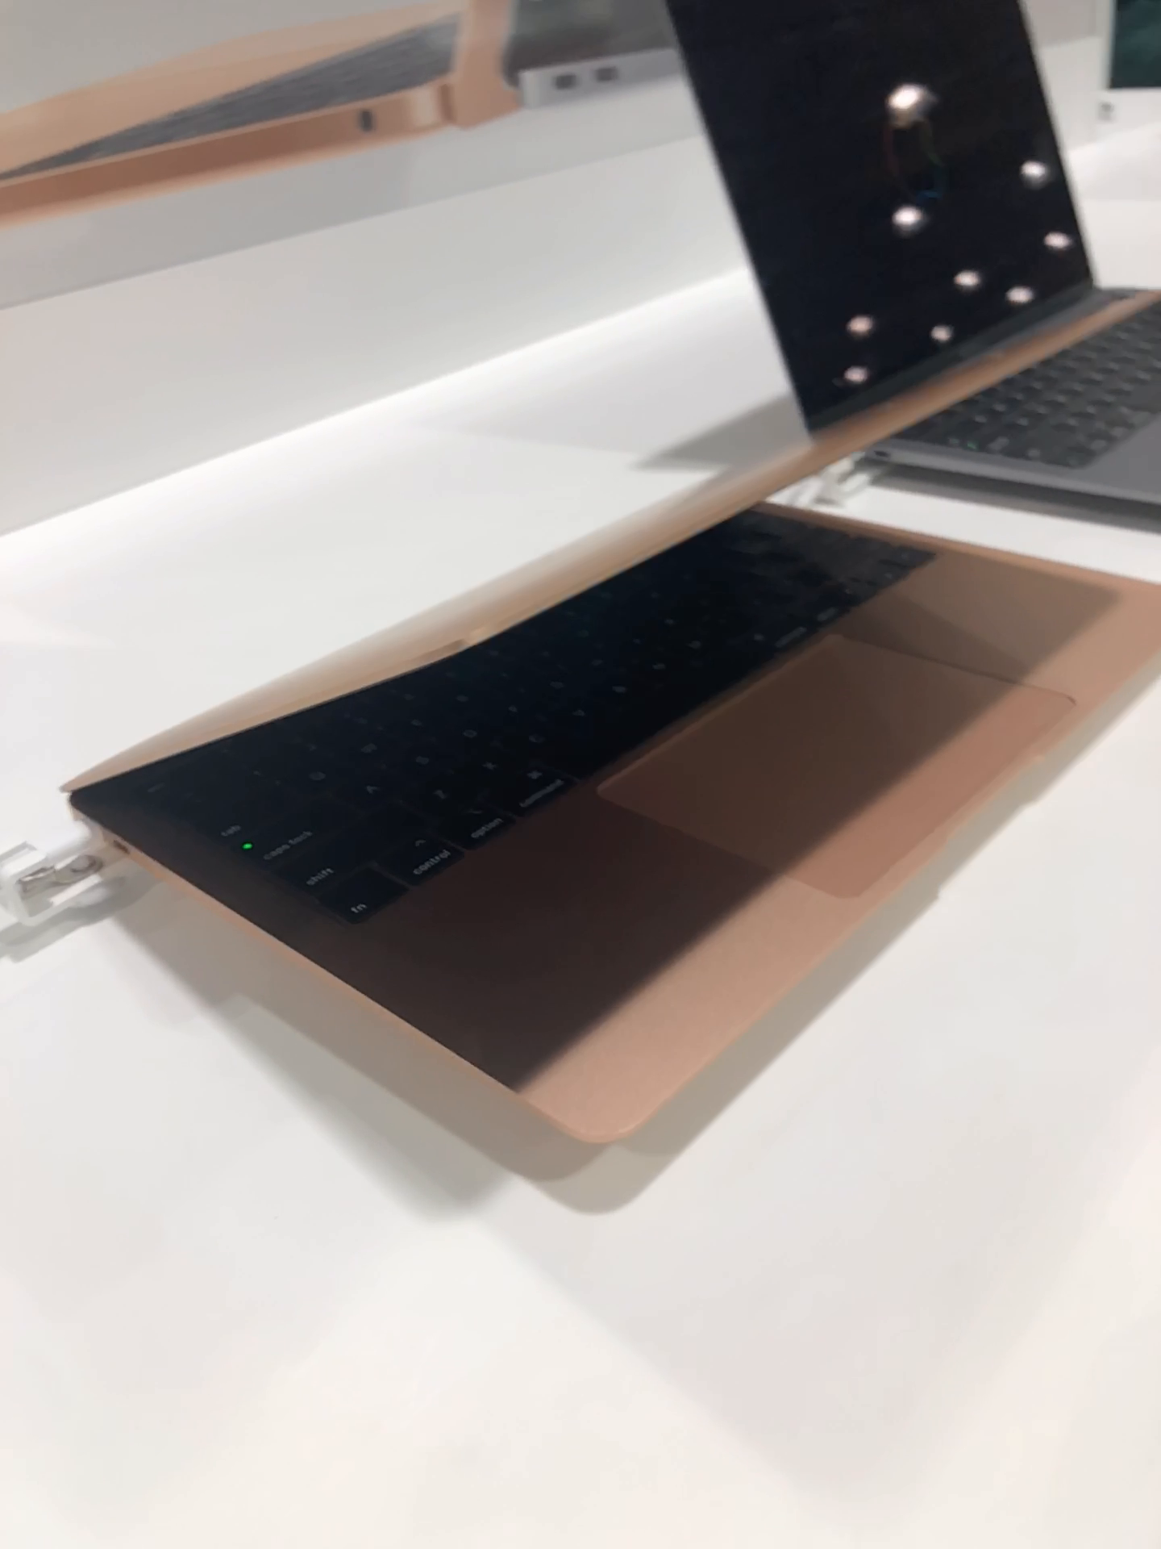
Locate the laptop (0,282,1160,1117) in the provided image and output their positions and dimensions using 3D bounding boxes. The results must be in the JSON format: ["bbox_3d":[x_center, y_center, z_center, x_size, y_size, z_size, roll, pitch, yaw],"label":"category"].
[{"bbox_3d":[0.019,-0.063,0.377,0.209,0.091,0.285,21,39,38],"label":"laptop"}]
